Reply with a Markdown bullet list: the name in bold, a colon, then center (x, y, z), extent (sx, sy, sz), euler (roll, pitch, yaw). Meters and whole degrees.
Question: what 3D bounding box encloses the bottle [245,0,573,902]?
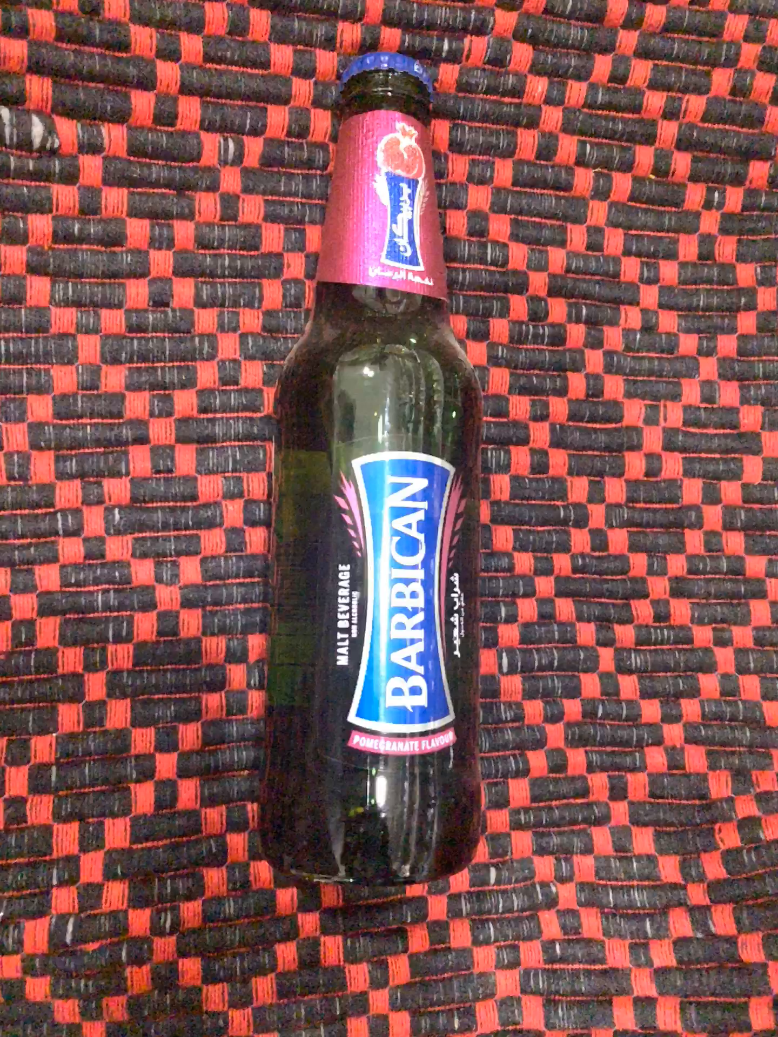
- **bottle**: center (-0.005, -0.028, 0.239), extent (0.070, 0.080, 0.240), euler (1, 77, -12)
